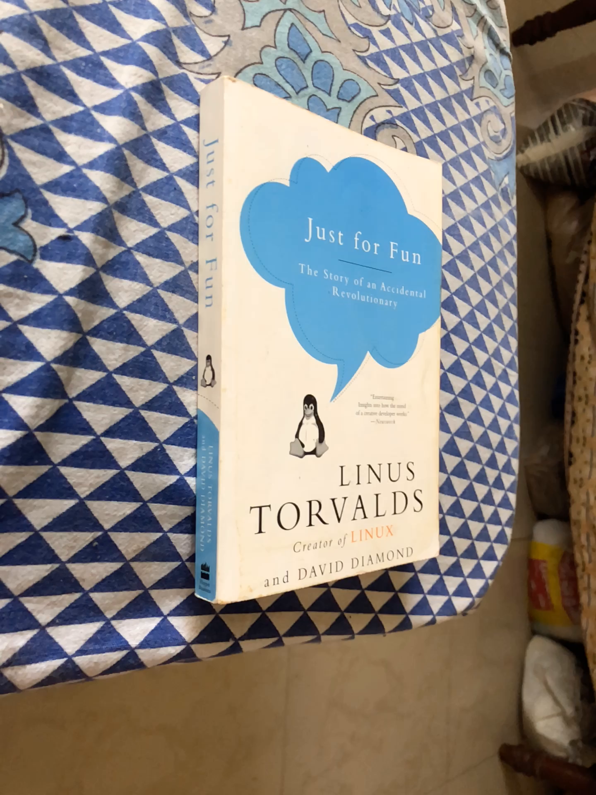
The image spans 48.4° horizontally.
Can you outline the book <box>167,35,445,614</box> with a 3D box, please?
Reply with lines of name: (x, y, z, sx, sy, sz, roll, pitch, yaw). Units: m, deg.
book: (0.011, -0.026, 0.298, 0.141, 0.030, 0.210, 2, 88, -42)
